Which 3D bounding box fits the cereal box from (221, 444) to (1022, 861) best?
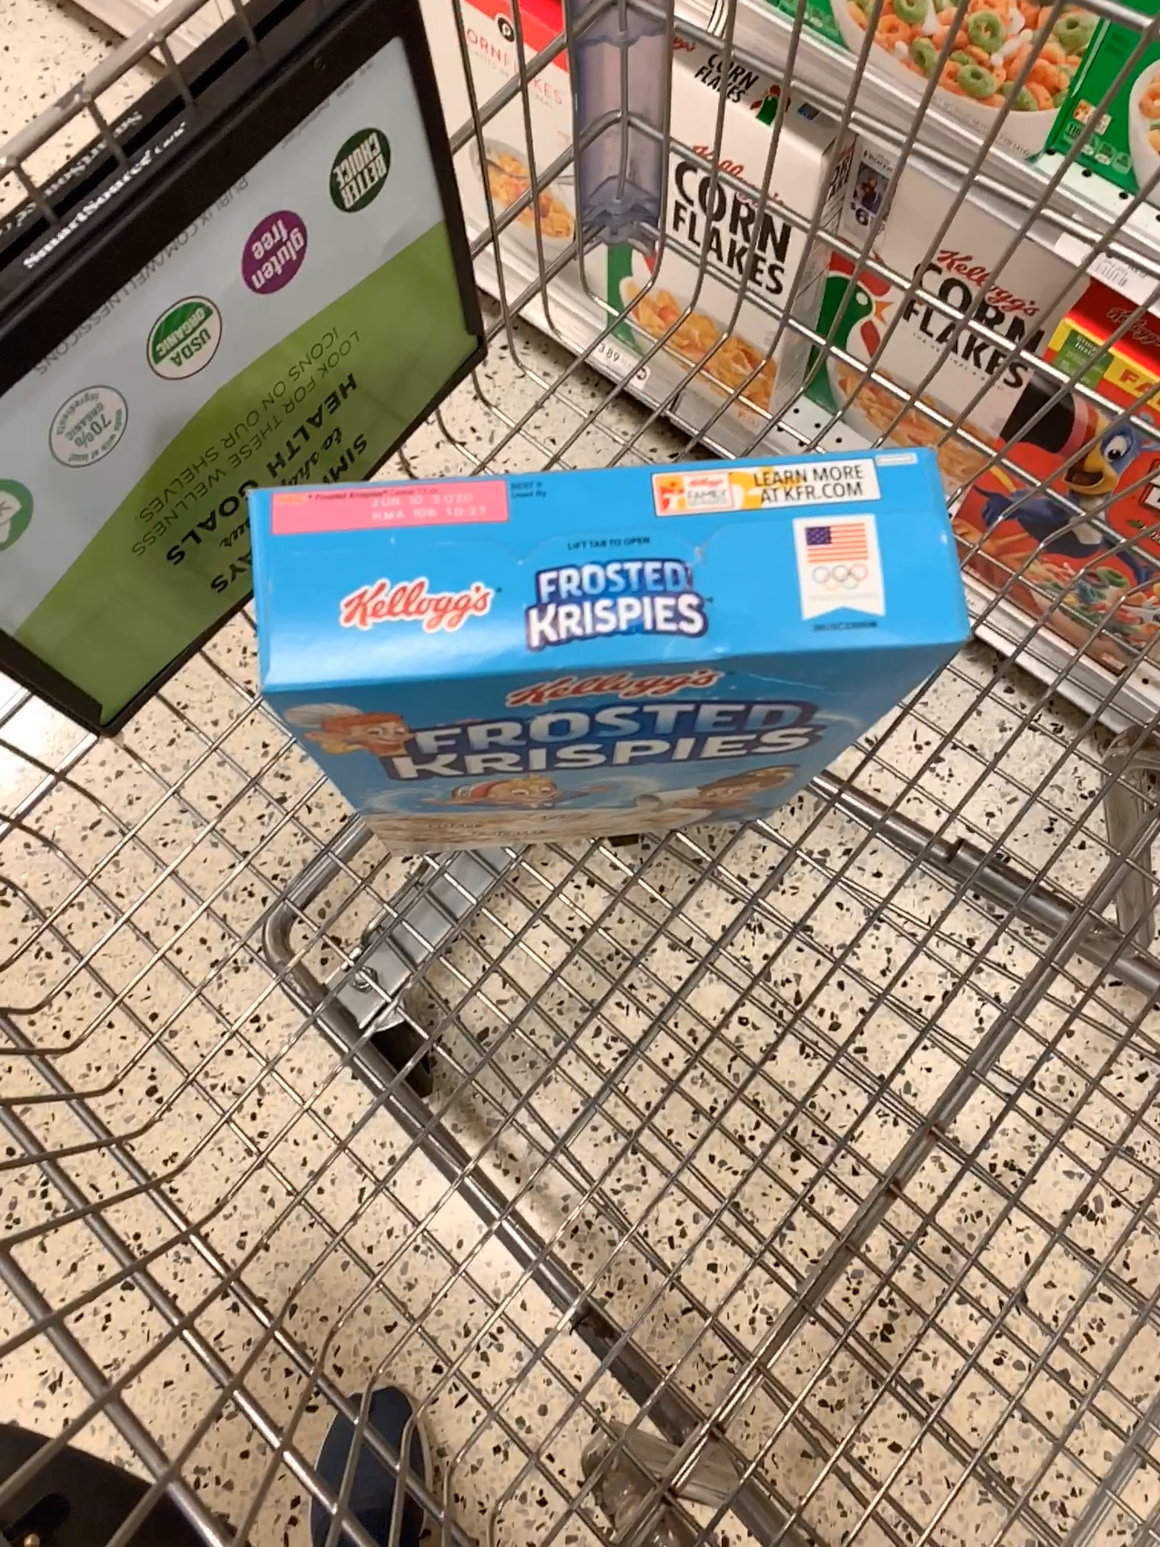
[{"bbox_3d":[0.009,-0.021,0.459,0.200,0.319,0.060,-4,79,-1],"label":"cereal box"}]
